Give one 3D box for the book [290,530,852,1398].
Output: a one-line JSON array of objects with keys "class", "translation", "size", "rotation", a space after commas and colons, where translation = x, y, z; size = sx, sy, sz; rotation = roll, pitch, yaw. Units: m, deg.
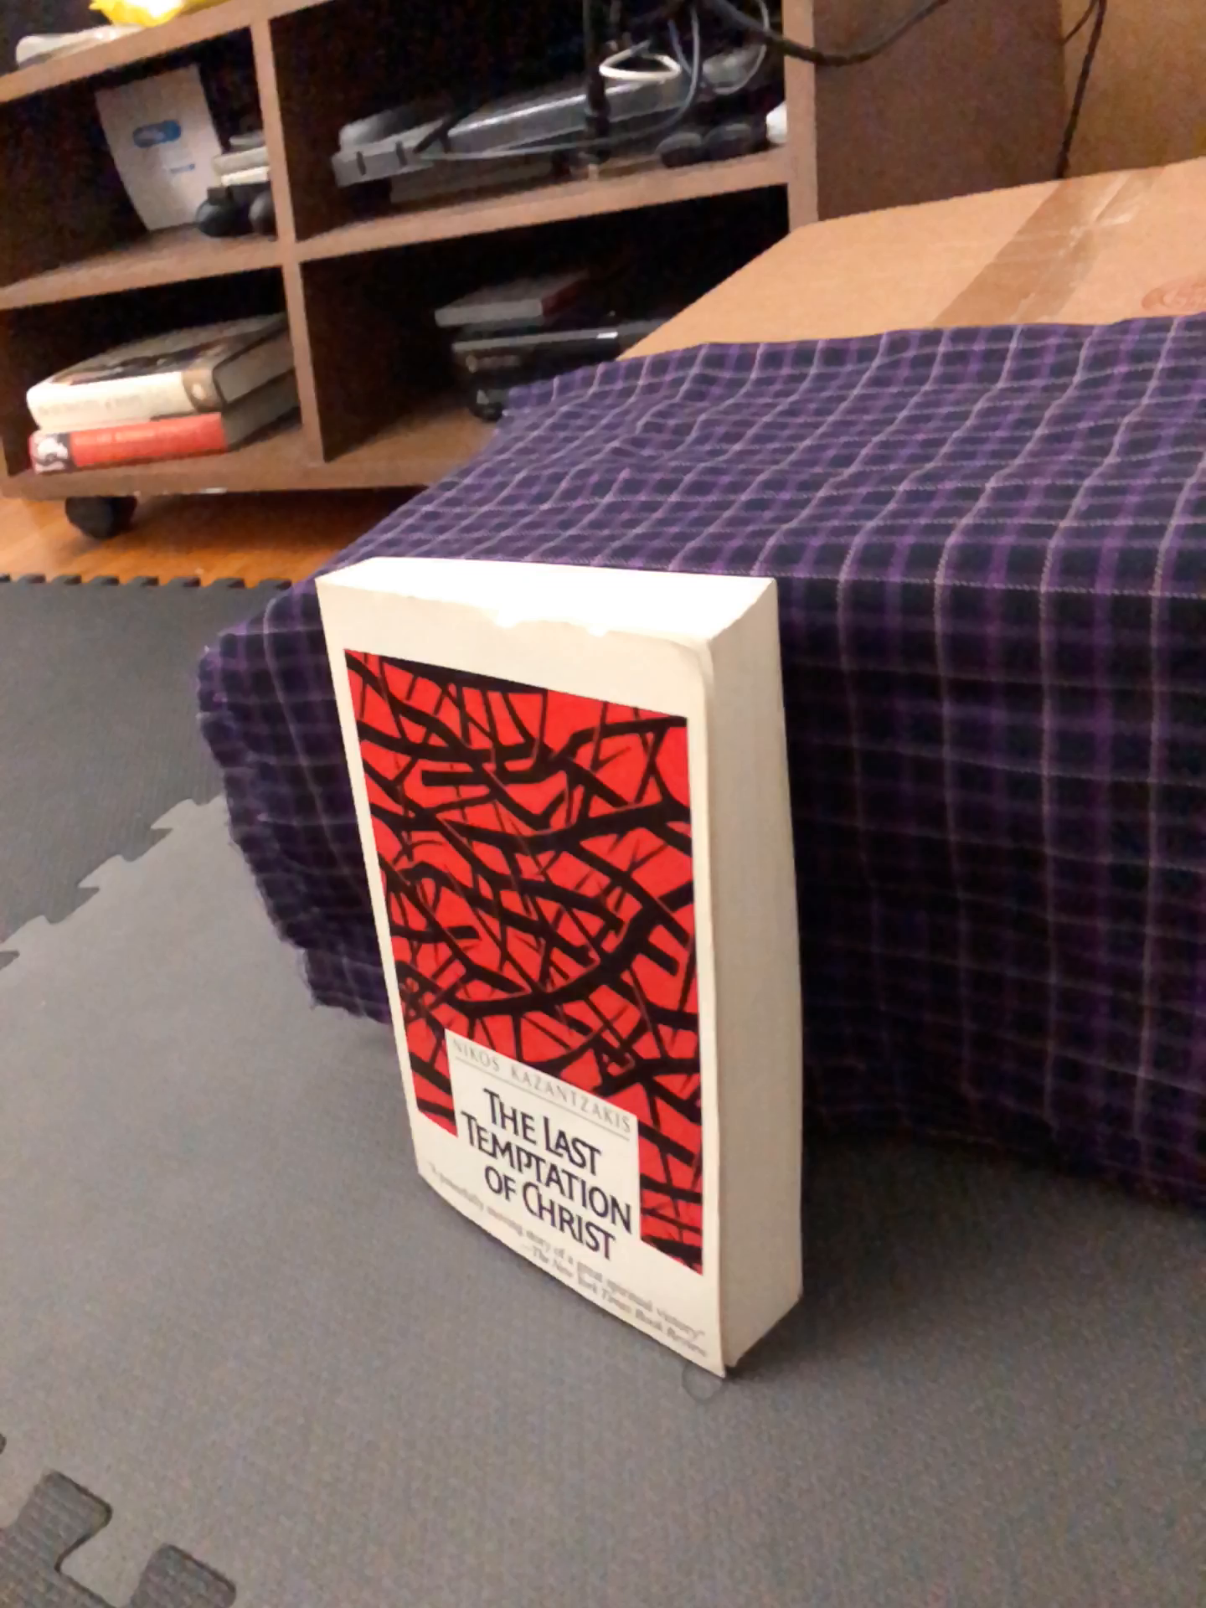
[{"class": "book", "translation": [-0.010, 0.035, 0.380], "size": [0.050, 0.209, 0.150], "rotation": [-23, 25, -34]}]
